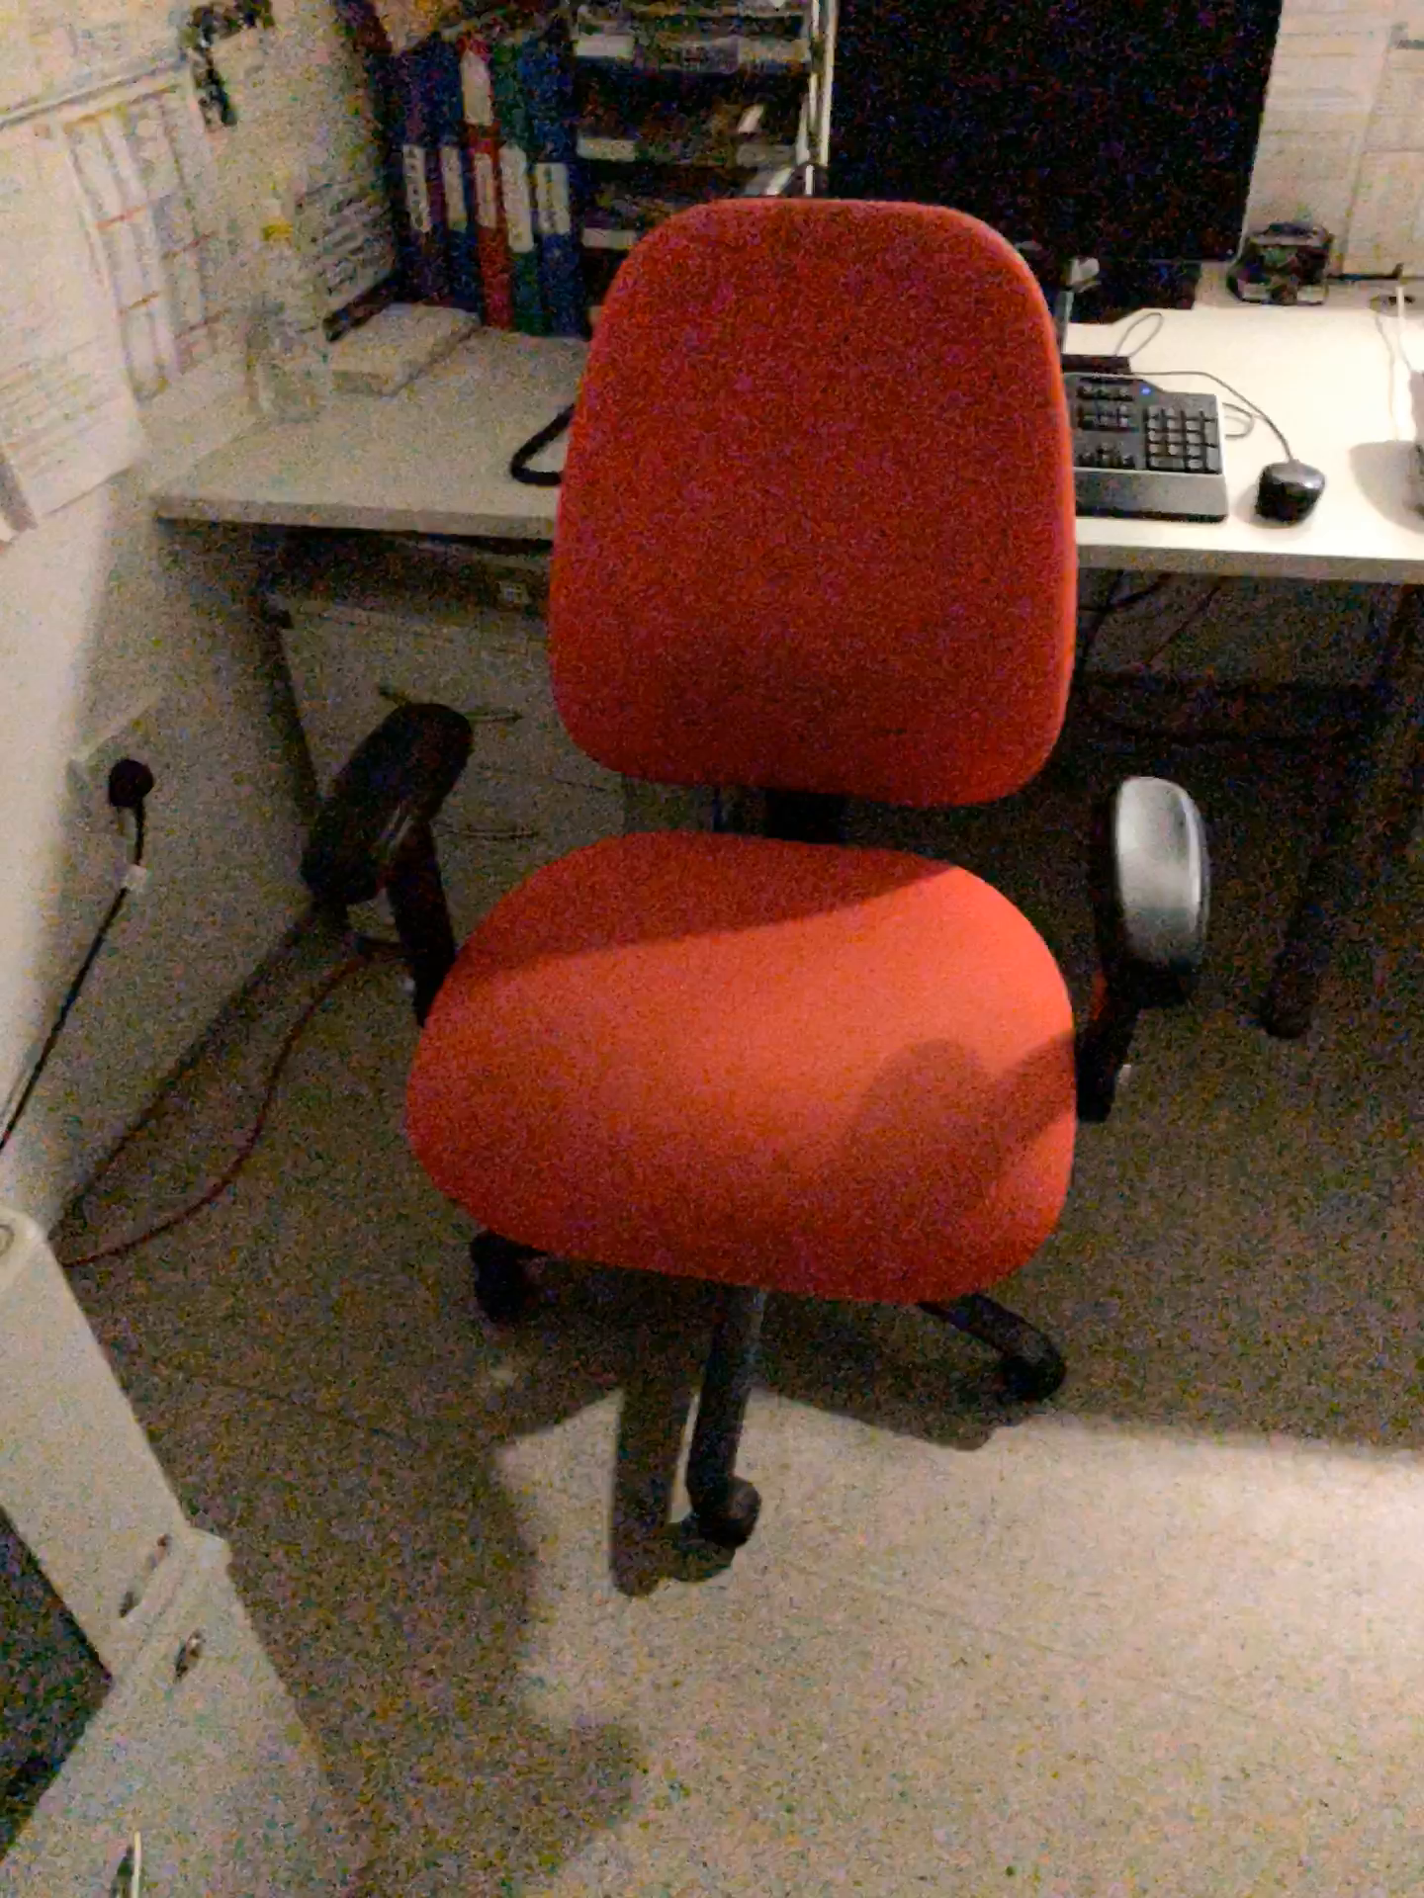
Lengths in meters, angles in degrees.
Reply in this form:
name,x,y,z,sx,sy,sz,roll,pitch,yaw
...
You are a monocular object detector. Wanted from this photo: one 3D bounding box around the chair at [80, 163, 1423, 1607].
name,x,y,z,sx,sy,sz,roll,pitch,yaw
chair,0.084,-0.035,1.170,0.670,0.921,0.656,3,41,4
